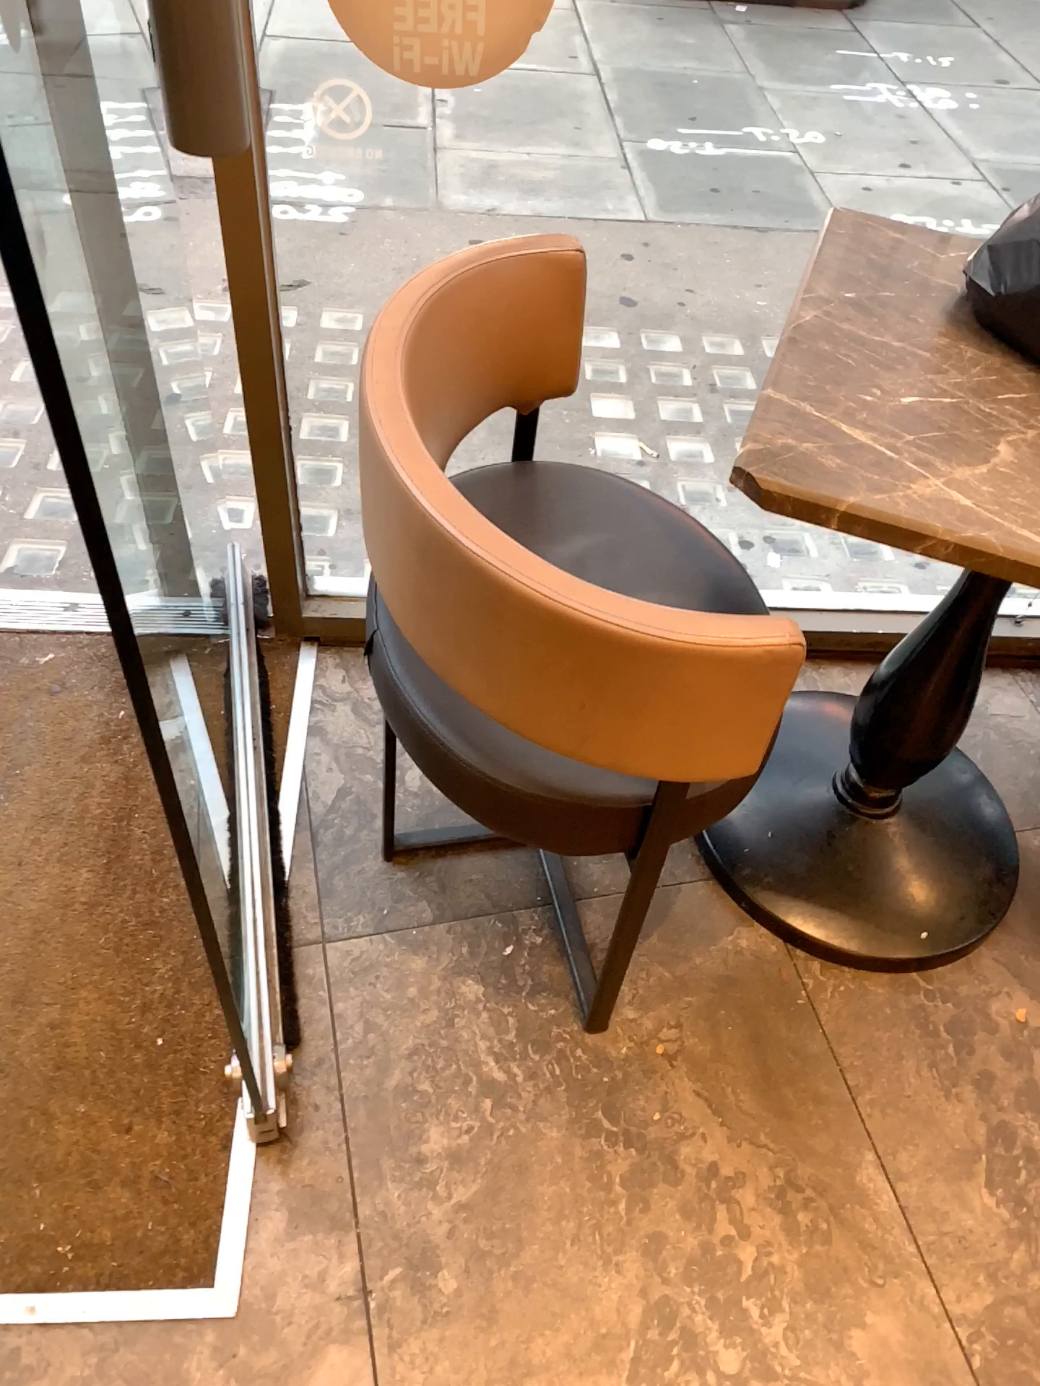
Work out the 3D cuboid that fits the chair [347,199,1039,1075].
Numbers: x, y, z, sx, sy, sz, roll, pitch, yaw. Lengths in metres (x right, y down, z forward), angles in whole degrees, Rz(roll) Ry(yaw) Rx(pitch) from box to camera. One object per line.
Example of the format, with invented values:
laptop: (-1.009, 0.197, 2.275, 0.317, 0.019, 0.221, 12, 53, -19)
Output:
chair: (0.076, -0.073, 1.241, 0.510, 0.654, 0.767, -1, 48, -7)
